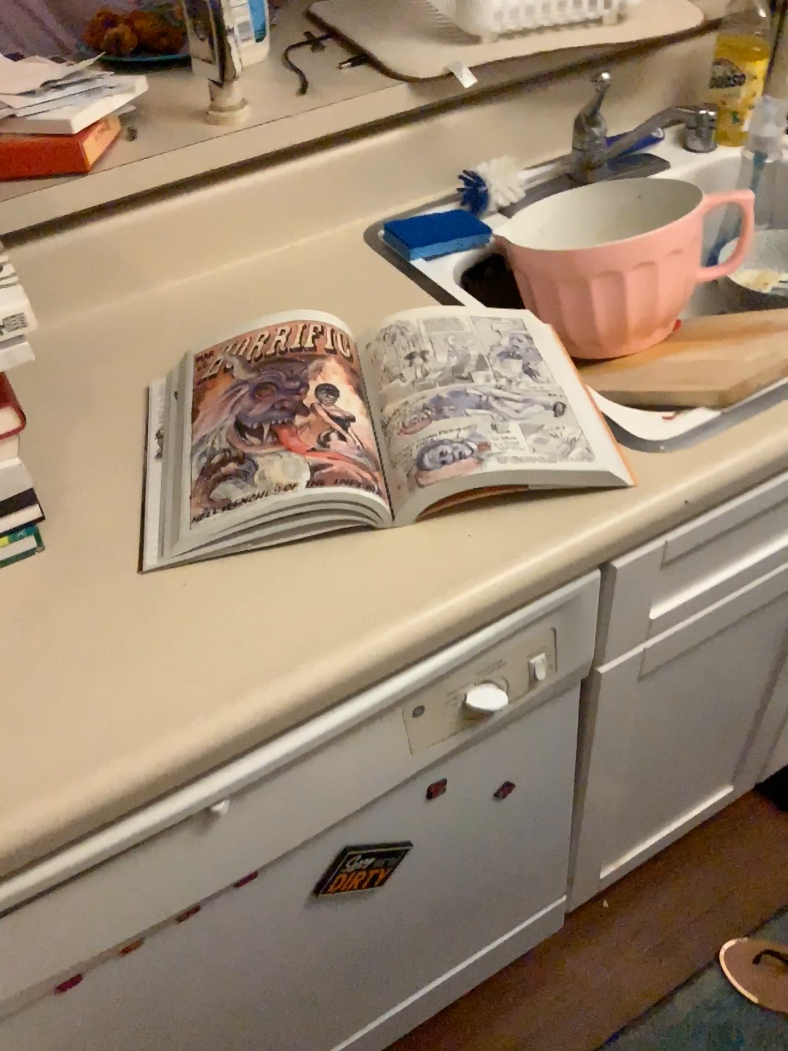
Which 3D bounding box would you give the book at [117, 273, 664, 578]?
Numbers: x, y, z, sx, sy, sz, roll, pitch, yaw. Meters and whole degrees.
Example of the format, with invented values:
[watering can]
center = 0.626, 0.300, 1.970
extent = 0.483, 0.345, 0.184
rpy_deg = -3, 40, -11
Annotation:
[book]
center = -0.019, -0.107, 0.792
extent = 0.430, 0.050, 0.280
rpy_deg = -10, 44, -3
